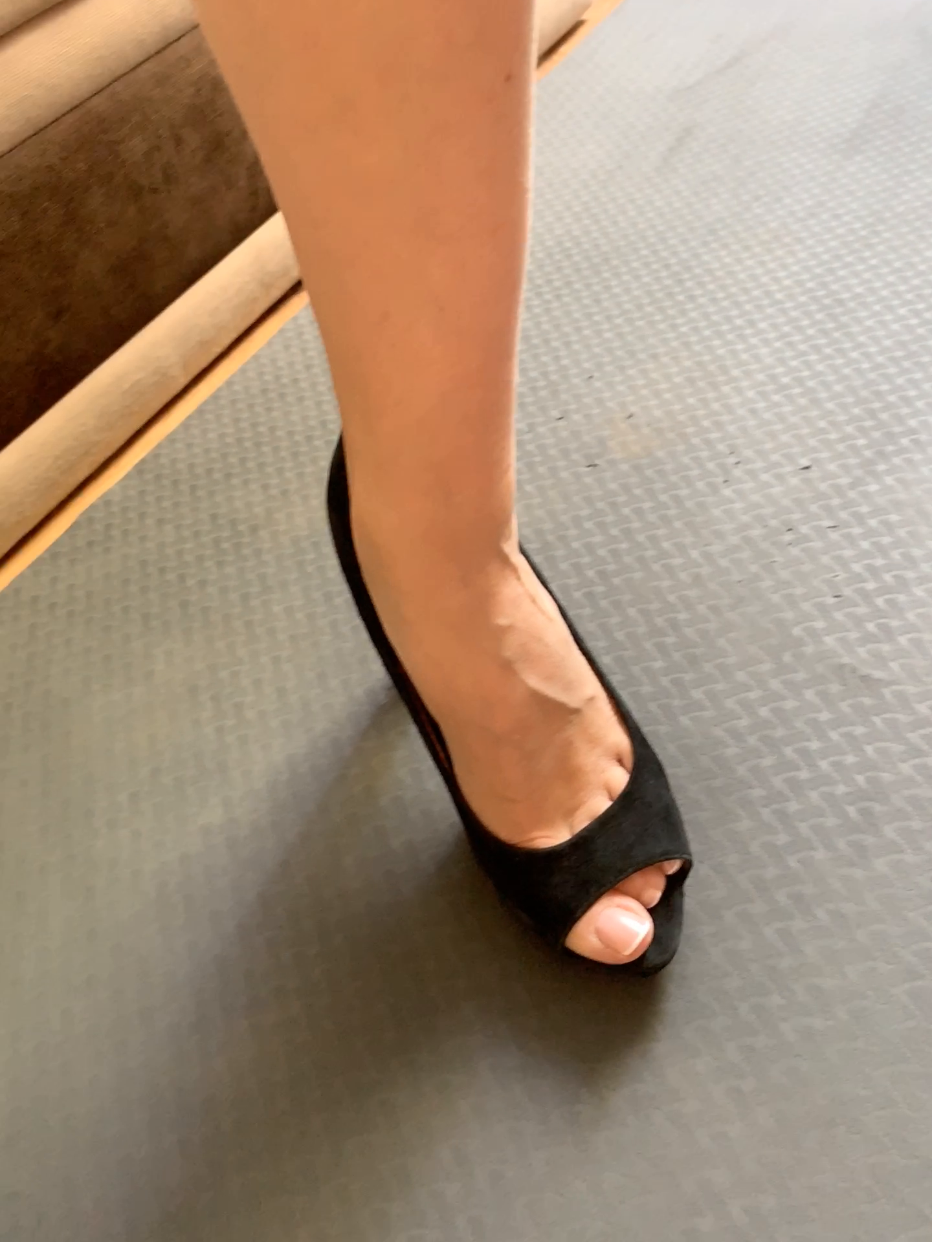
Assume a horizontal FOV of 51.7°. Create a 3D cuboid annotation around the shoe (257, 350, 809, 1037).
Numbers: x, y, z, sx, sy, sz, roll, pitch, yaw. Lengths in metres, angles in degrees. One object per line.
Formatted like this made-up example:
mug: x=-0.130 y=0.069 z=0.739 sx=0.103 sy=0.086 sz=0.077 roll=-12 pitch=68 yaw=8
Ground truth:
shoe: x=0.018 y=0.020 z=0.369 sx=0.090 sy=0.139 sz=0.211 roll=-28 pitch=49 yaw=-9
